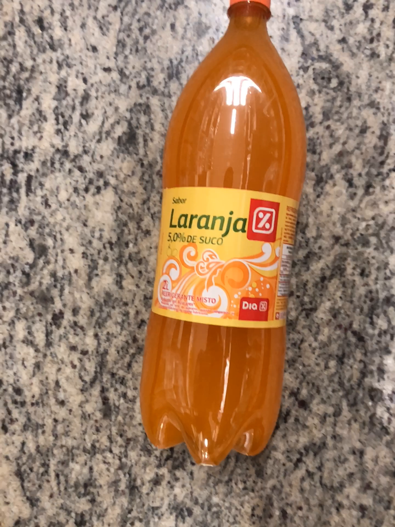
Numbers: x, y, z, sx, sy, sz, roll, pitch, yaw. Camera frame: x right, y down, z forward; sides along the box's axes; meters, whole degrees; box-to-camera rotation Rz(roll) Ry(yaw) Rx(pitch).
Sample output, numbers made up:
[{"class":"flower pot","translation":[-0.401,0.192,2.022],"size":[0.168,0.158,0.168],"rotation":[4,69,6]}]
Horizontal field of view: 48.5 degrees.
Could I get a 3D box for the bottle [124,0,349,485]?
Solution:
[{"class":"bottle","translation":[0.028,-0.038,0.322],"size":[0.120,0.070,0.350],"rotation":[5,89,7]}]
